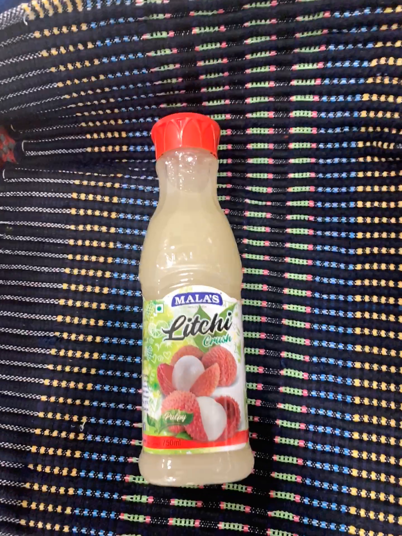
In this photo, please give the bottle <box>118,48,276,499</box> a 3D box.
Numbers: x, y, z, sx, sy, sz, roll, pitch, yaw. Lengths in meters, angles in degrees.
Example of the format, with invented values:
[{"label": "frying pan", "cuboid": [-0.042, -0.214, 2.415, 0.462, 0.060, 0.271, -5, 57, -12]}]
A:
[{"label": "bottle", "cuboid": [-0.008, -0.004, 0.276, 0.080, 0.080, 0.260, -1, 78, -3]}]
